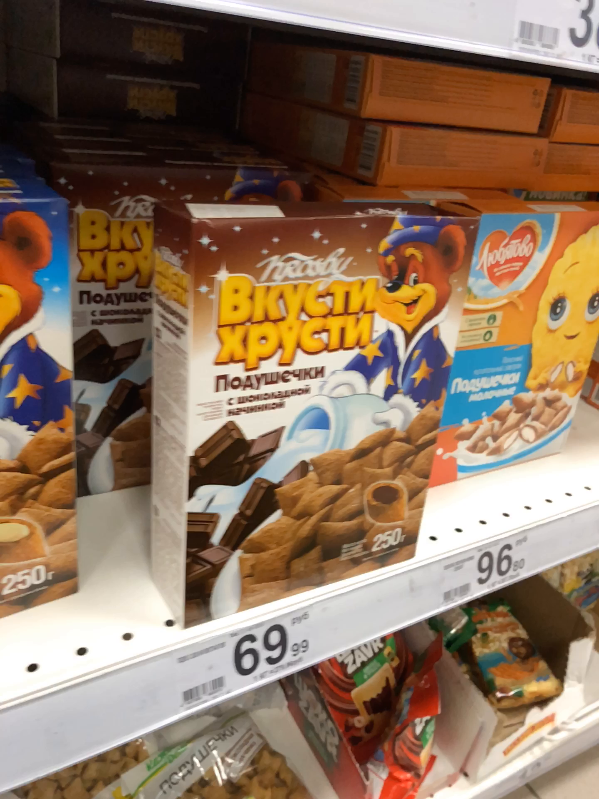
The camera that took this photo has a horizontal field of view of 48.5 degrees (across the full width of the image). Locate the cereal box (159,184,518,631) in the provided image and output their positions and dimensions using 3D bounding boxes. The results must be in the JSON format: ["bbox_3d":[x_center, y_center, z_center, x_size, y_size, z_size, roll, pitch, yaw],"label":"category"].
[{"bbox_3d":[0.017,0.002,0.382,0.180,0.229,0.050,-8,28,-29],"label":"cereal box"}]
